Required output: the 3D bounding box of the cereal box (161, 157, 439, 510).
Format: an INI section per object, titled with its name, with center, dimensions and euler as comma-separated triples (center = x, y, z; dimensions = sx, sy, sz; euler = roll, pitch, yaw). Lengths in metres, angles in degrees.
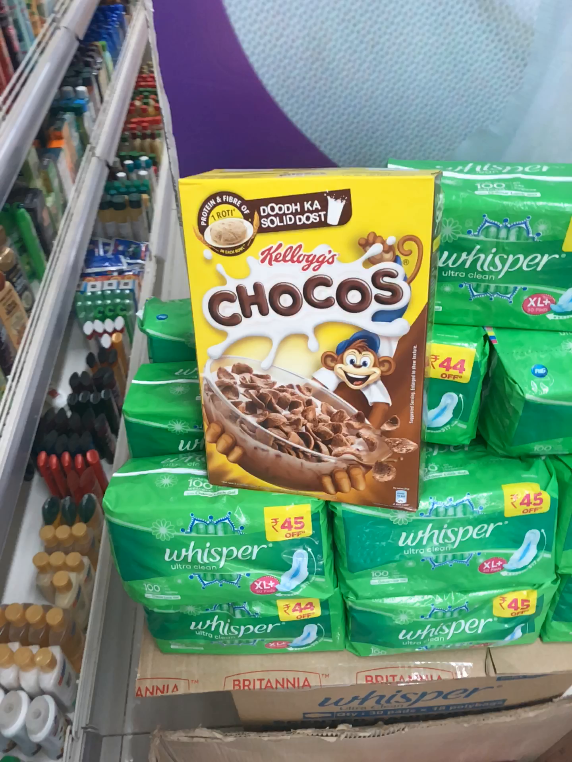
[cereal box]
center = 0.017, -0.040, 0.513
dimensions = 0.190, 0.259, 0.080
euler = 5, 24, 16
